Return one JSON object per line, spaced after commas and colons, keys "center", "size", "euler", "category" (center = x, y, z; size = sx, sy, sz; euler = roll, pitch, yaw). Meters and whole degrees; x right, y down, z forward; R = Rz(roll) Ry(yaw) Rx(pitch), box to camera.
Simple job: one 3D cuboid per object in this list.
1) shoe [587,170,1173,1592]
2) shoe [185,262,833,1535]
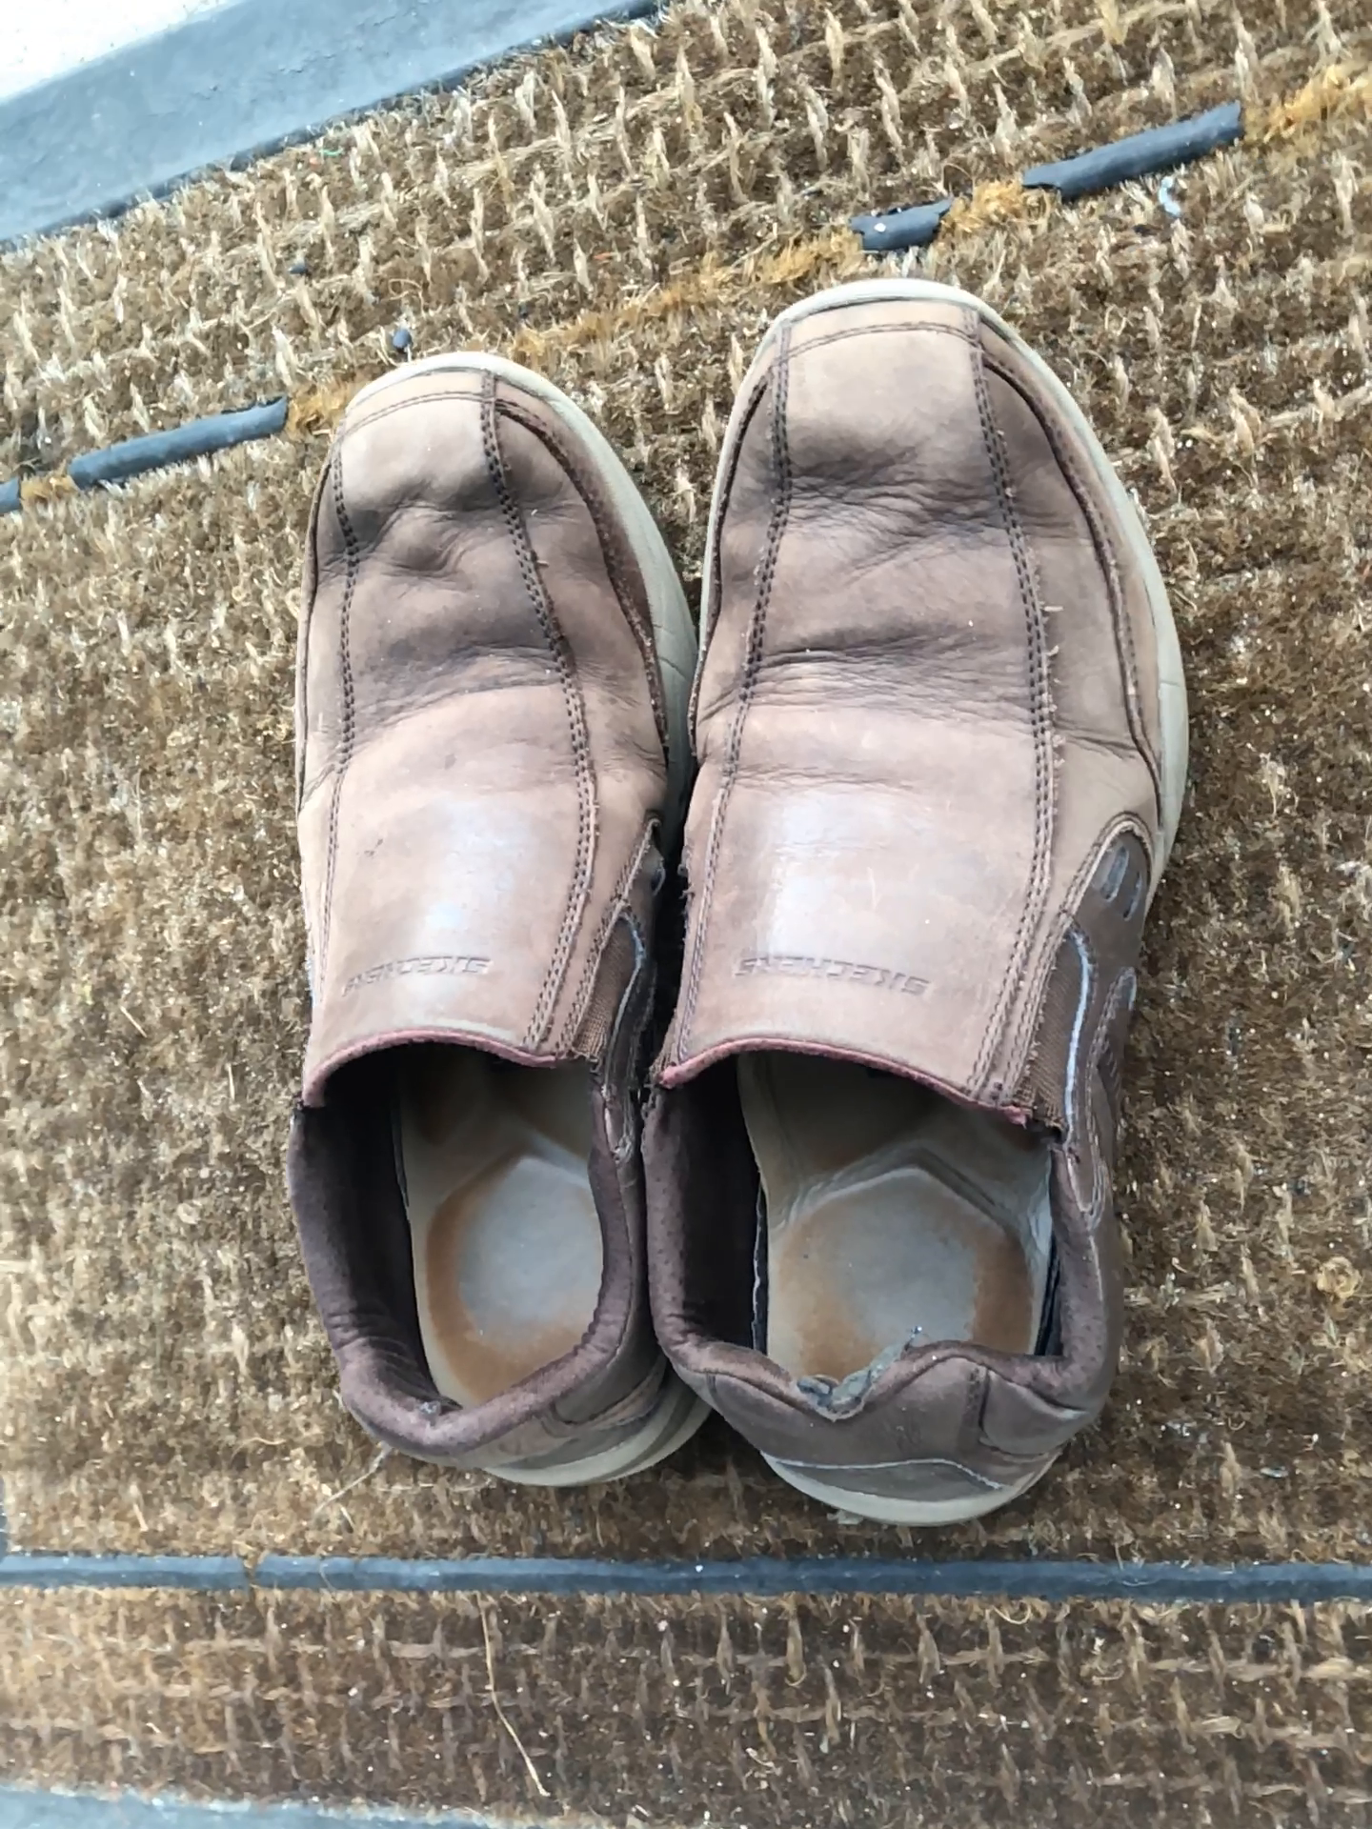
{"center": [0.050, -0.005, 0.333], "size": [0.100, 0.100, 0.254], "euler": [-2, 94, 19], "category": "shoe"}
{"center": [-0.036, -0.001, 0.379], "size": [0.100, 0.100, 0.267], "euler": [-5, 93, 19], "category": "shoe"}
